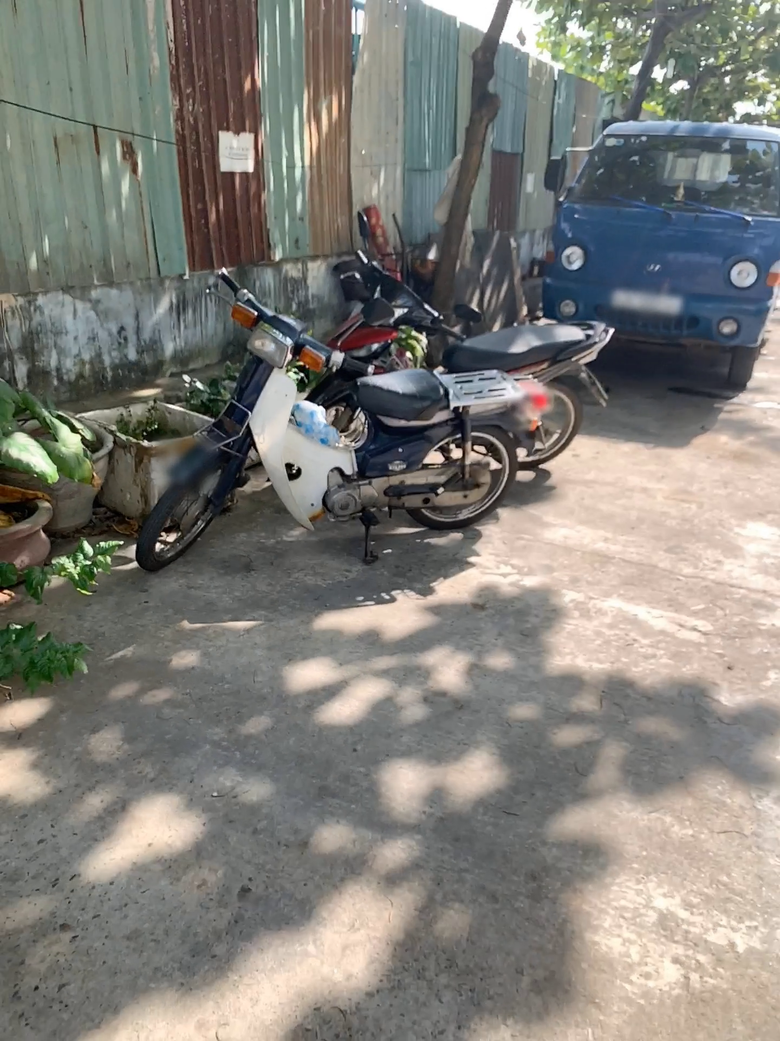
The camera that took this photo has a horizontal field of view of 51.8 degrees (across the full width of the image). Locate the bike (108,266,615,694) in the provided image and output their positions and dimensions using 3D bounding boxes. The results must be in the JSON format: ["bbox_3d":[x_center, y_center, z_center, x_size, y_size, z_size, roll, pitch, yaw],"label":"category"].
[{"bbox_3d":[-0.088,-0.241,2.758,1.477,1.025,0.655,-13,27,-27],"label":"bike"}]
